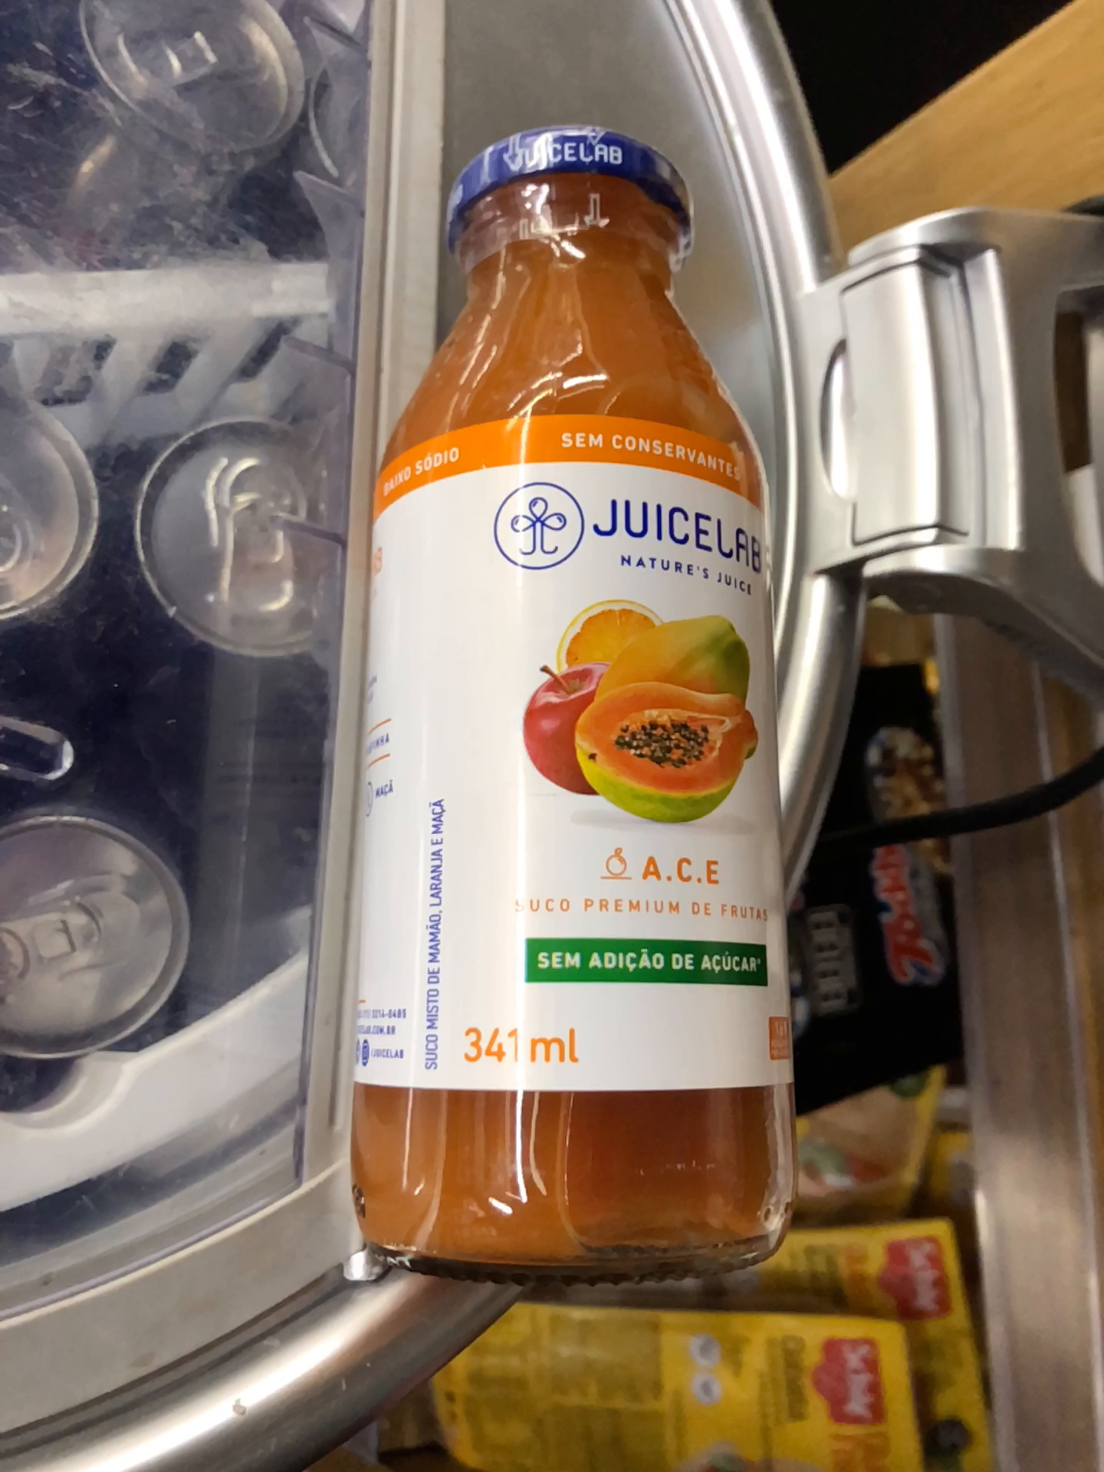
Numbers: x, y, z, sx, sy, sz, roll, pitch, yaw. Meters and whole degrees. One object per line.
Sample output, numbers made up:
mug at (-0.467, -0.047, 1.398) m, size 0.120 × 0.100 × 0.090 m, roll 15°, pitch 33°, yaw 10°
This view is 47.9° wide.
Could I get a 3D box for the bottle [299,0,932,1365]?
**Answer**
bottle at (0.010, -0.018, 0.188) m, size 0.070 × 0.050 × 0.190 m, roll 8°, pitch 76°, yaw -26°
